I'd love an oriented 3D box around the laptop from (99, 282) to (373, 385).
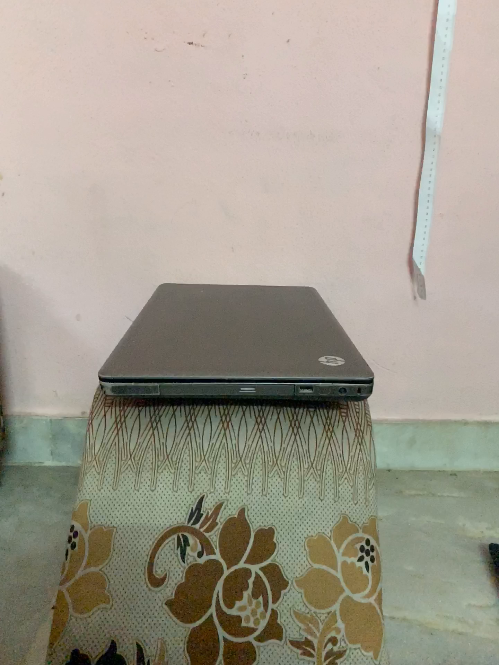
[{"bbox_3d":[-0.014,-0.016,0.644,0.249,0.002,0.381,1,18,-1],"label":"laptop"}]
